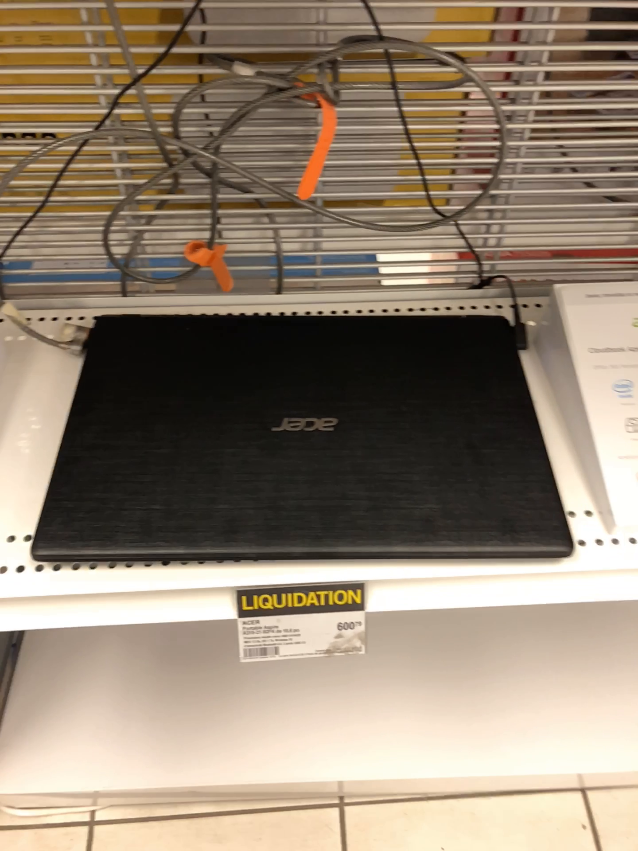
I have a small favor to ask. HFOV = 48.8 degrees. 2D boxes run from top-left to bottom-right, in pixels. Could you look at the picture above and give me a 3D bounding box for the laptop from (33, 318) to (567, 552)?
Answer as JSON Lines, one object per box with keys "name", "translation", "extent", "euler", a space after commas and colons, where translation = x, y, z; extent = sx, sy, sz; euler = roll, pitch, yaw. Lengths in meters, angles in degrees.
{"name": "laptop", "translation": [-0.011, -0.007, 0.576], "extent": [0.374, 0.003, 0.248], "euler": [0, 48, -2]}
